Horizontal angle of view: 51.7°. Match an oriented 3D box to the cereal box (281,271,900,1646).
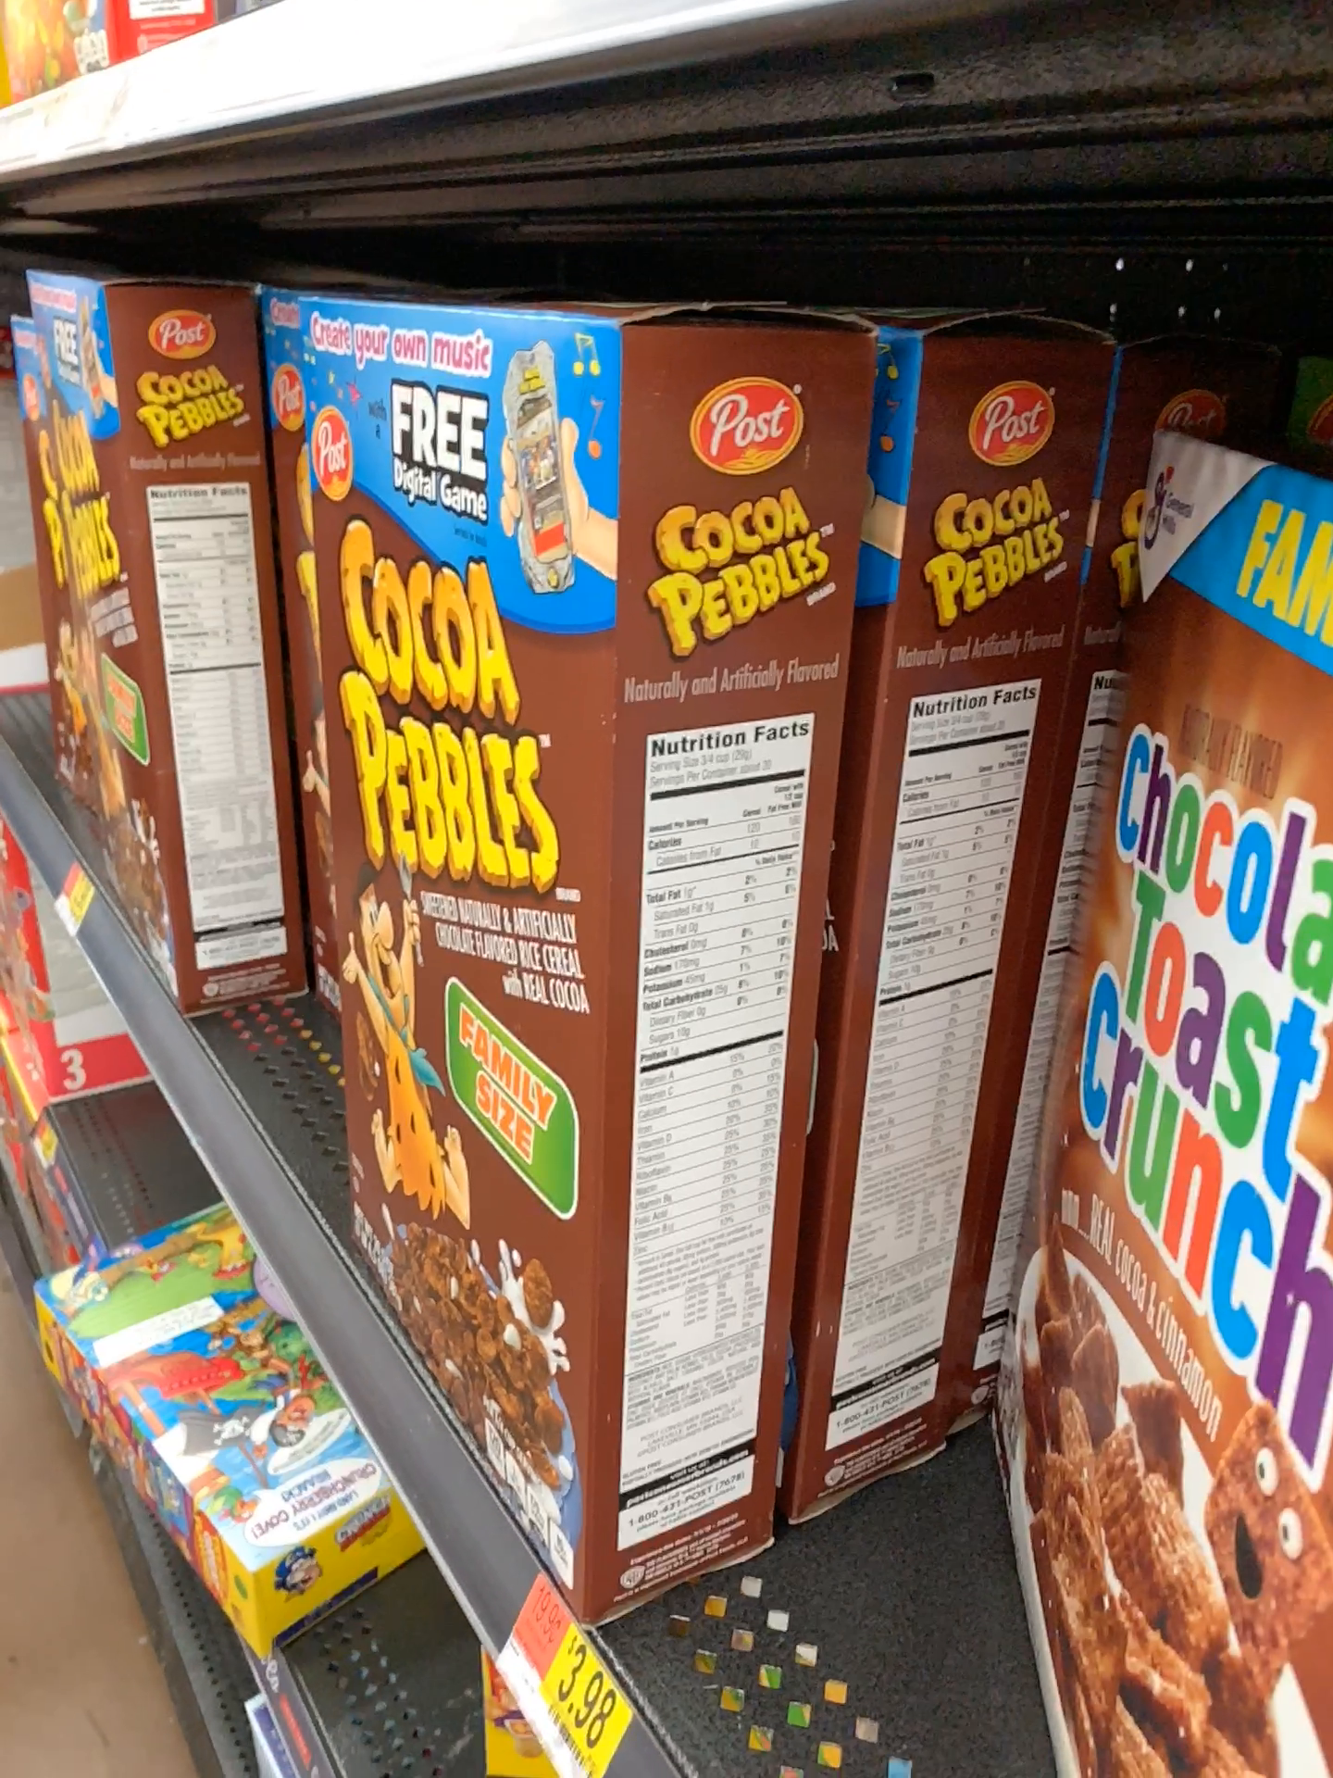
[{"bbox_3d":[-0.040,0.007,0.392,0.060,0.328,0.201,-11,27,-29],"label":"cereal box"}]
